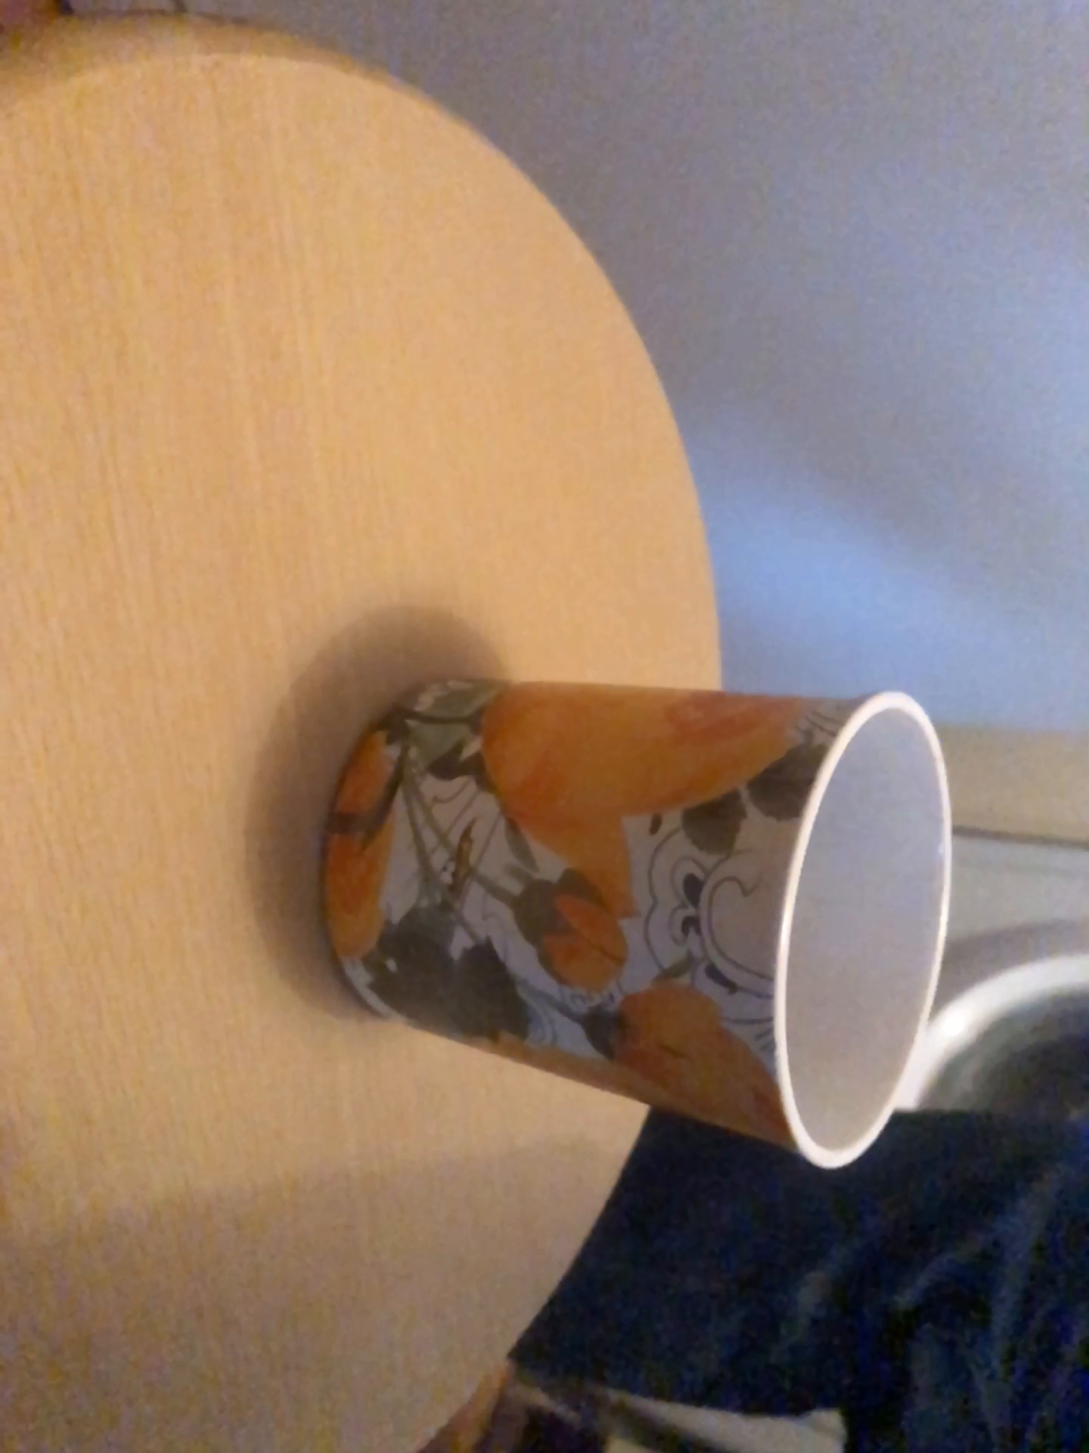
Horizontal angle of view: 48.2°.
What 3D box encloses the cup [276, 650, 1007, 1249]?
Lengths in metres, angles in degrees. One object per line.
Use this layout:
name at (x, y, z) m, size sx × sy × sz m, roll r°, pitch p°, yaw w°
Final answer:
cup at (0.025, 0.033, 0.246) m, size 0.111 × 0.097 × 0.082 m, roll 6°, pitch 89°, yaw -55°
